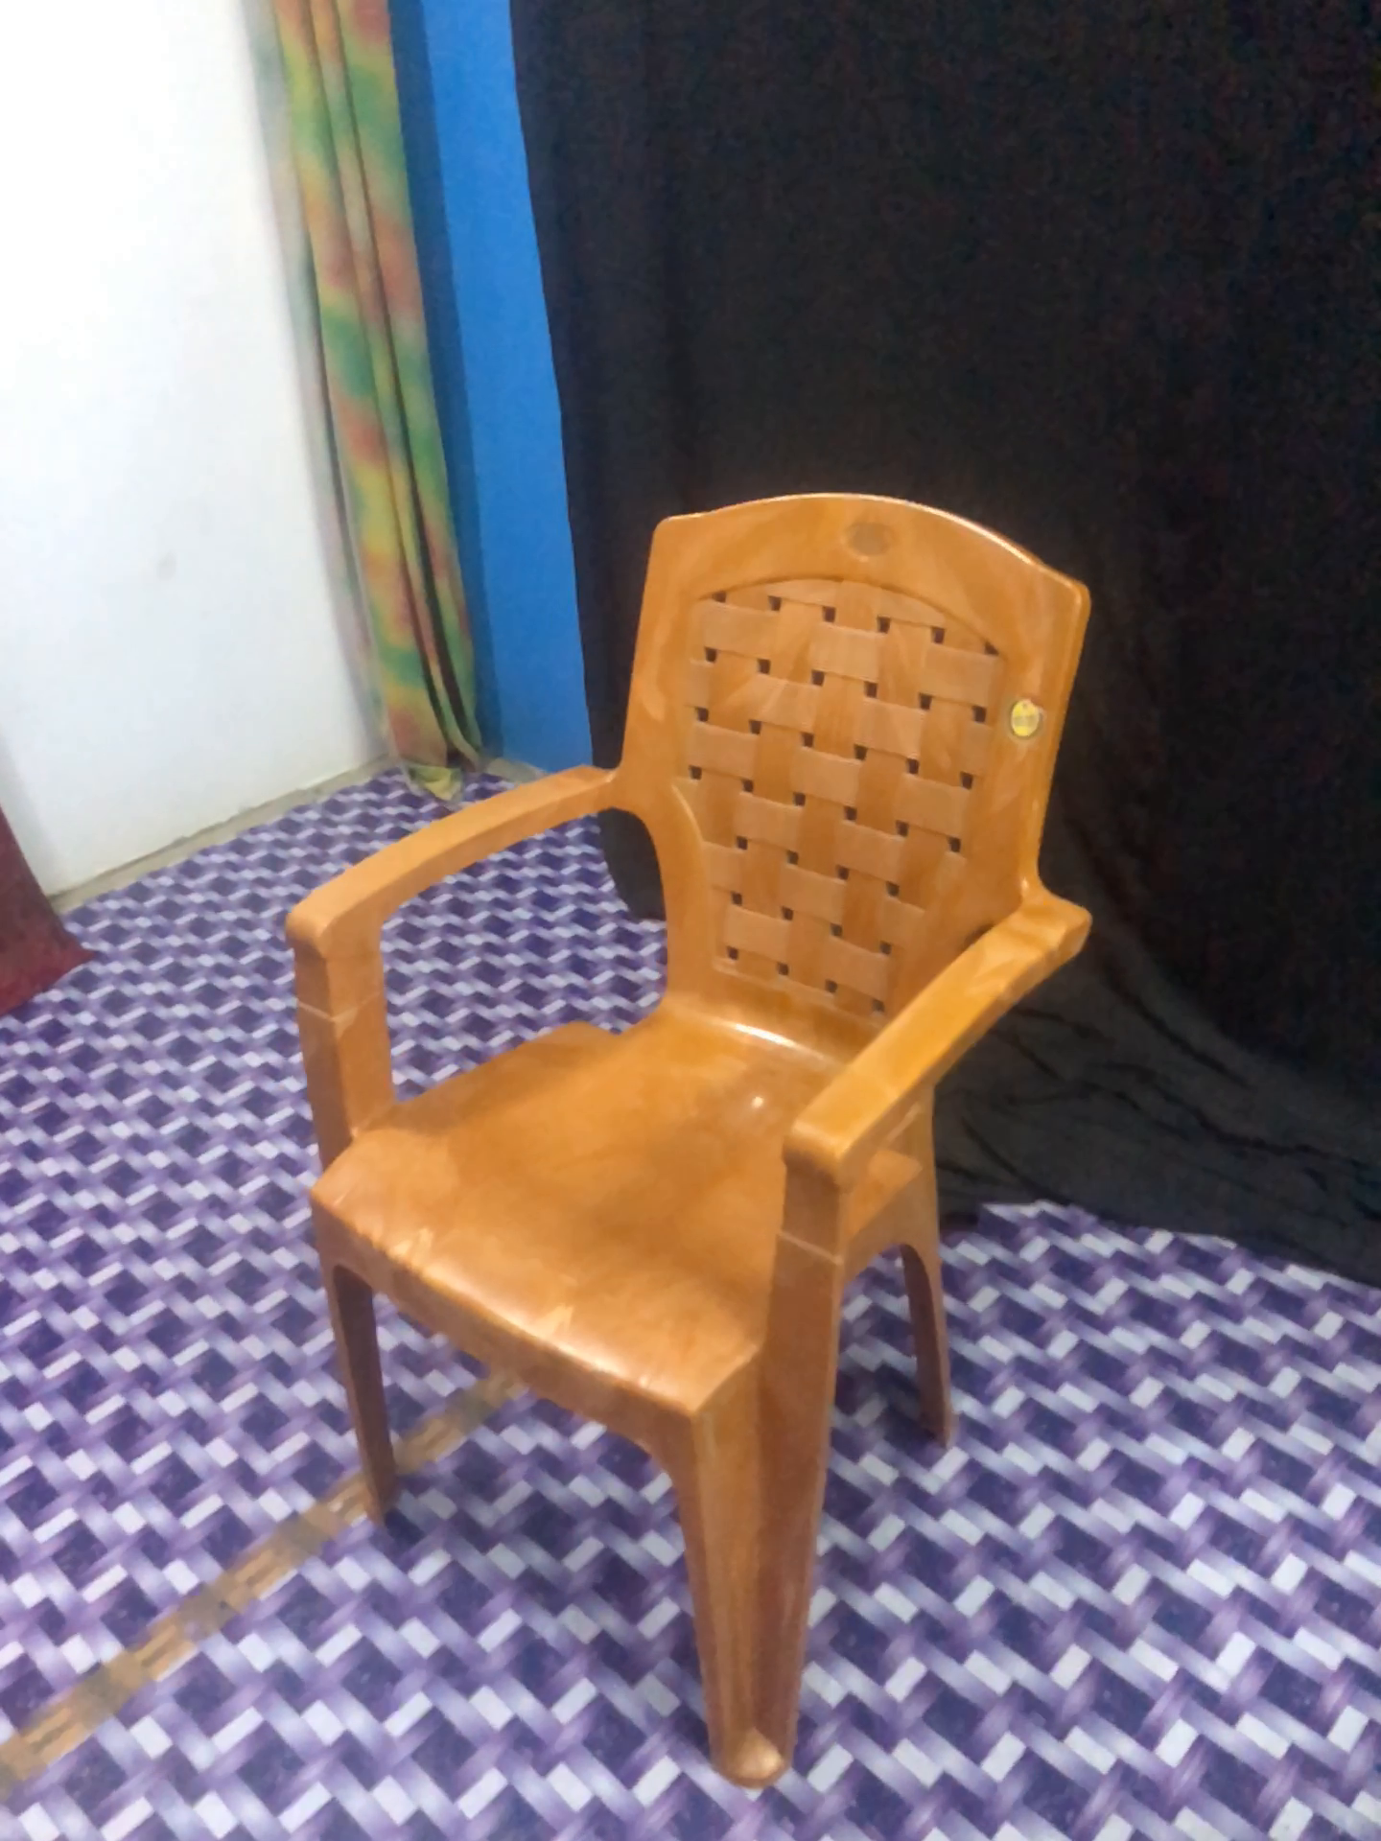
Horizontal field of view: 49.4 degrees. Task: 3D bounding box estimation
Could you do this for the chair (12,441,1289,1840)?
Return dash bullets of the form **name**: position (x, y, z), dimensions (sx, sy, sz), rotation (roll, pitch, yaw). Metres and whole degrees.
- **chair**: position (0.008, 0.110, 1.239), dimensions (0.600, 0.786, 0.663), rotation (21, 38, 35)
